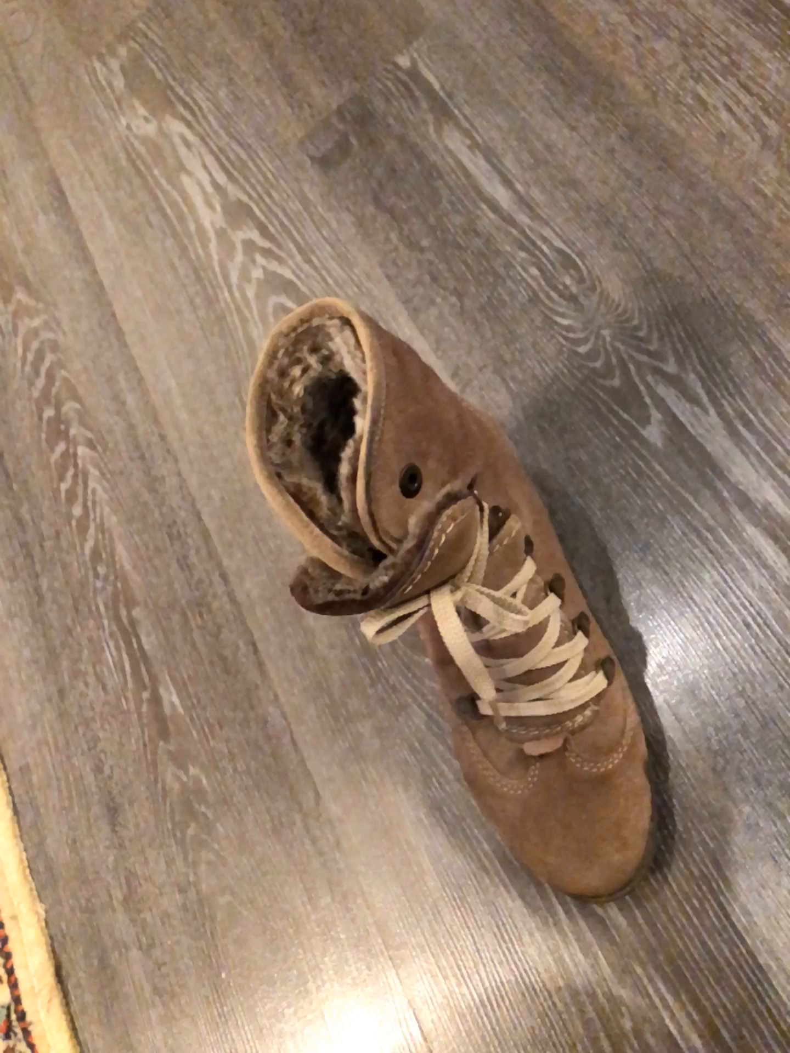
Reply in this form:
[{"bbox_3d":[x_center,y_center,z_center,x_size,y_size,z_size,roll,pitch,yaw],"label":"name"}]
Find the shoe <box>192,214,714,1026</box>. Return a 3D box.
[{"bbox_3d":[0.029,0.042,0.357,0.100,0.189,0.241,-21,66,19],"label":"shoe"}]
